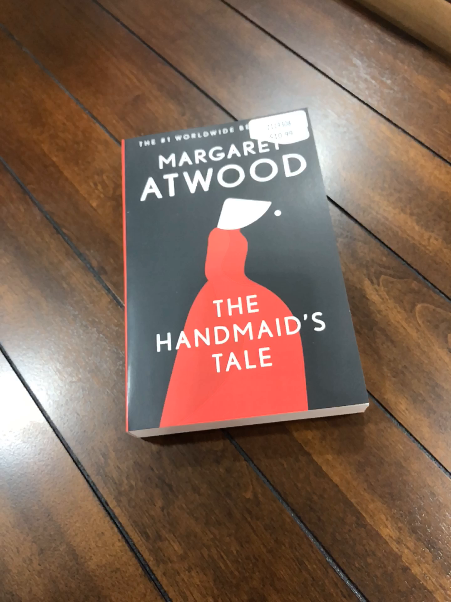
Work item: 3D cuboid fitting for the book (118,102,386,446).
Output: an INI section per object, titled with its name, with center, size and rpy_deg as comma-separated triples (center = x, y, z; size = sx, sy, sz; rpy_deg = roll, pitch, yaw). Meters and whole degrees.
[book]
center = 0.005, -0.025, 0.317
size = 0.138, 0.030, 0.207
rpy_deg = -8, 66, 4
